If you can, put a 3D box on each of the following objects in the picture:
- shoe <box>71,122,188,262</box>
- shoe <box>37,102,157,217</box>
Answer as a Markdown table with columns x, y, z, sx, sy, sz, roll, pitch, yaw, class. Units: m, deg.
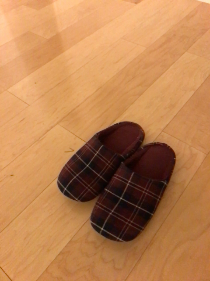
| x | y | z | sx | sy | sz | roll | pitch | yaw | class |
| --- | --- | --- | --- | --- | --- | --- | --- | --- | --- |
| 0.063 | 0.087 | 0.484 | 0.120 | 0.050 | 0.271 | 26 | 58 | 22 | shoe |
| -0.008 | 0.026 | 0.519 | 0.120 | 0.050 | 0.261 | 33 | 61 | 26 | shoe |
